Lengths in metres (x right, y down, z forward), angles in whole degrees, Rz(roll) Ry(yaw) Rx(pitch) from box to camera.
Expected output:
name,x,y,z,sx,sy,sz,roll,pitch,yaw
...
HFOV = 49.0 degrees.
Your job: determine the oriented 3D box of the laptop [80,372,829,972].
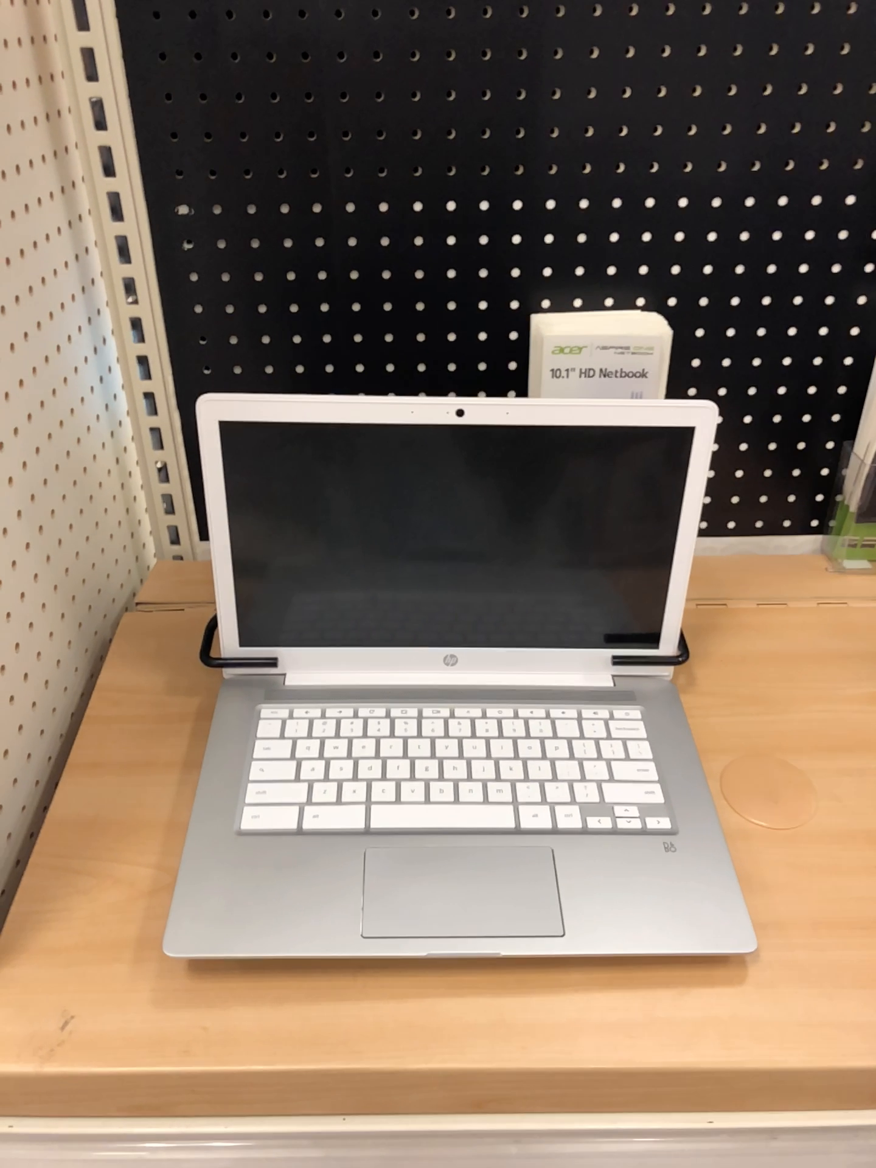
name,x,y,z,sx,sy,sz,roll,pitch,yaw
laptop,0.008,0.033,0.586,0.333,0.198,0.281,-1,36,-3
